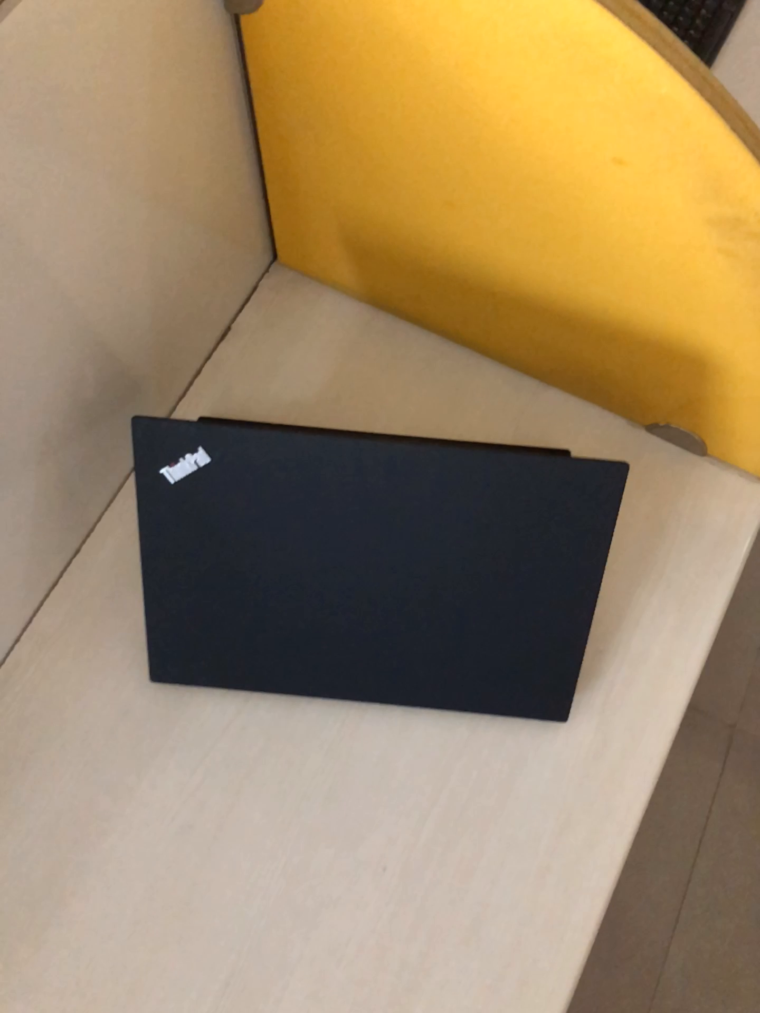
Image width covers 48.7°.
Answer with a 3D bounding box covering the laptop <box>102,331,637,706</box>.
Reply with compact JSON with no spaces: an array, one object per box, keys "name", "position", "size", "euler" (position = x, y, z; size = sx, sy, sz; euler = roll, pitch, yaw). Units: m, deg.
[{"name":"laptop","position":[-0.003,0.015,0.676],"size":[0.349,0.166,0.240],"euler":[5,67,1]}]
